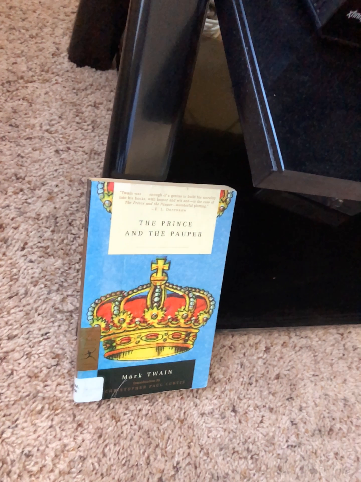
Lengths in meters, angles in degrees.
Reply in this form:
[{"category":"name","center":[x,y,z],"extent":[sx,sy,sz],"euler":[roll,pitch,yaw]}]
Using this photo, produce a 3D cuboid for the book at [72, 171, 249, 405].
[{"category":"book","center":[-0.019,0.043,0.358],"extent":[0.130,0.030,0.193],"euler":[2,105,-27]}]
